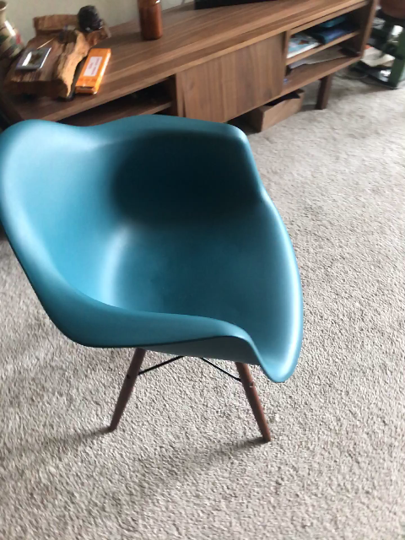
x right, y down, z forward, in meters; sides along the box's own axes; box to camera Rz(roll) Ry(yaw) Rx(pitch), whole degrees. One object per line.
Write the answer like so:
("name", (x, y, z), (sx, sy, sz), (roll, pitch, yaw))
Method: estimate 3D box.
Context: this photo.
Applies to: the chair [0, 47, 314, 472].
("chair", (-0.088, 0.057, 1.027), (0.480, 0.845, 0.574), (-2, 52, 2))
